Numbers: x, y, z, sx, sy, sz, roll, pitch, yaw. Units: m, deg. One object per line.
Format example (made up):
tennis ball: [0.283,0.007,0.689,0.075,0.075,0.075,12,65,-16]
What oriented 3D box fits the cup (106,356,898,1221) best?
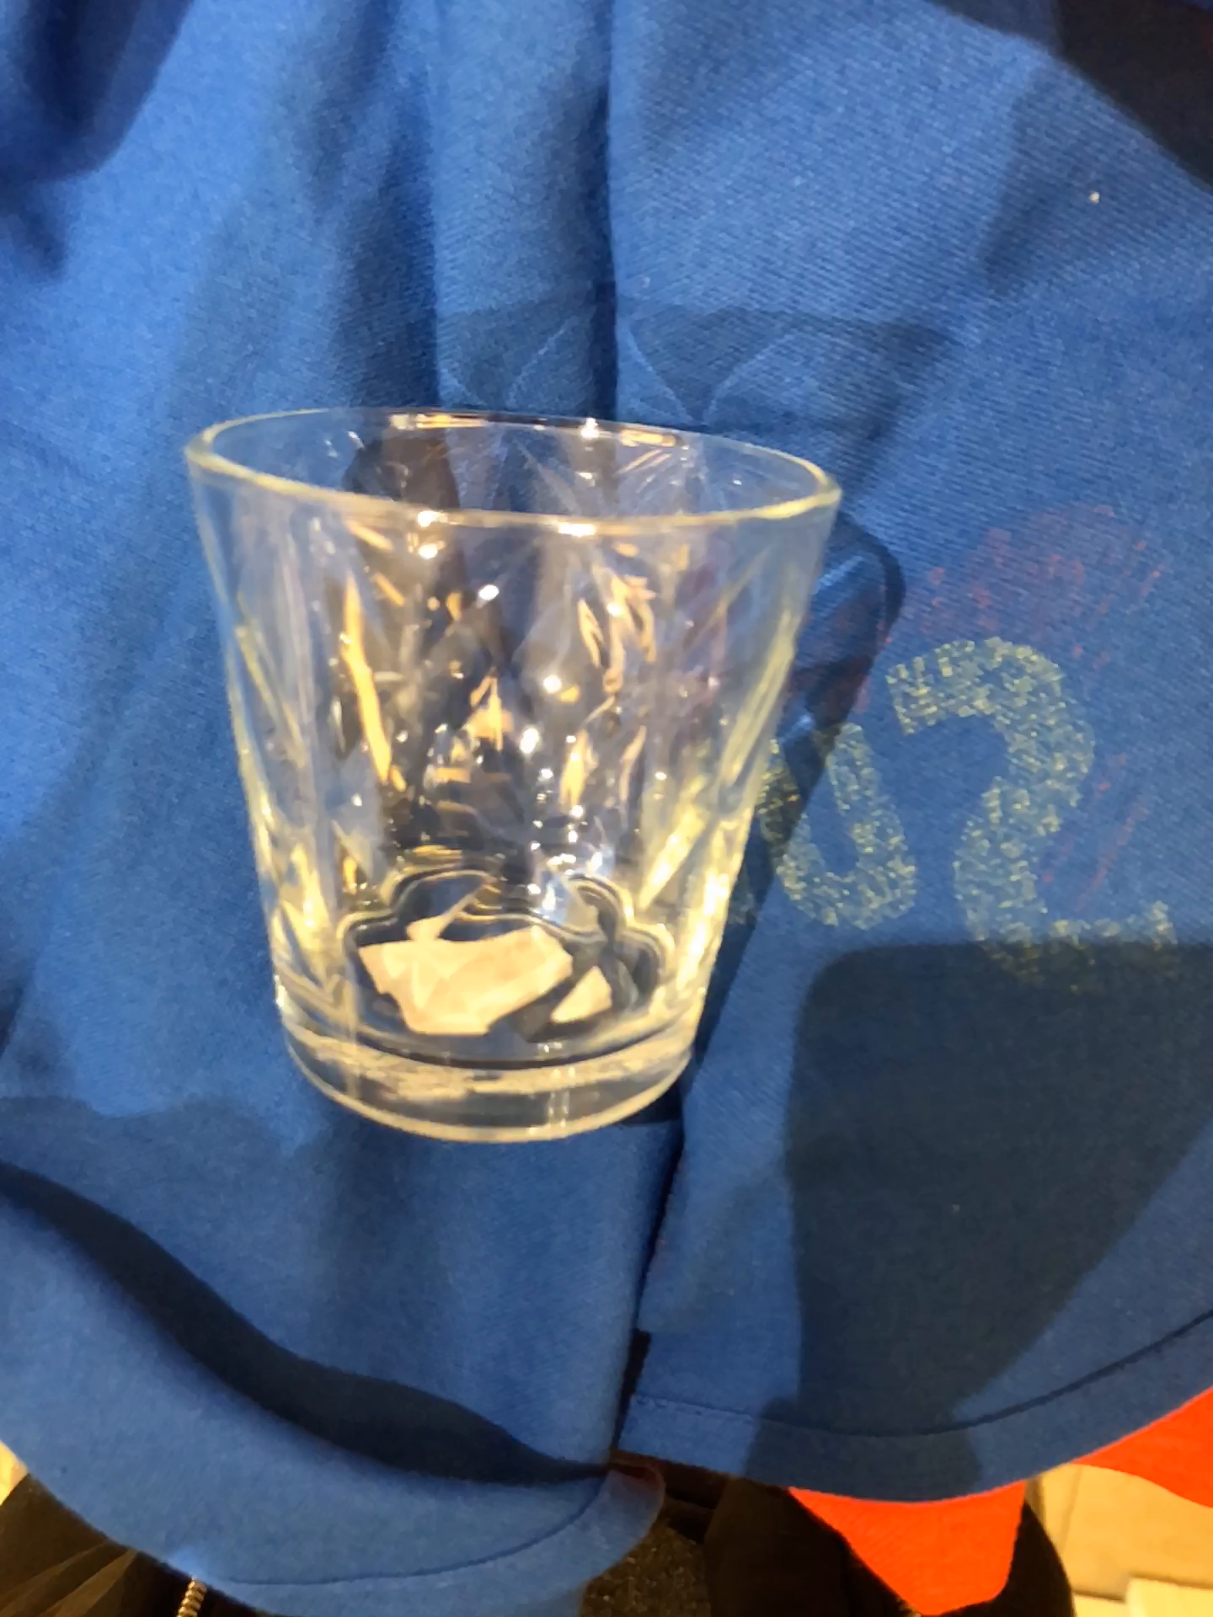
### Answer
cup: [-0.010,-0.007,0.186,0.080,0.070,0.090,6,117,4]
